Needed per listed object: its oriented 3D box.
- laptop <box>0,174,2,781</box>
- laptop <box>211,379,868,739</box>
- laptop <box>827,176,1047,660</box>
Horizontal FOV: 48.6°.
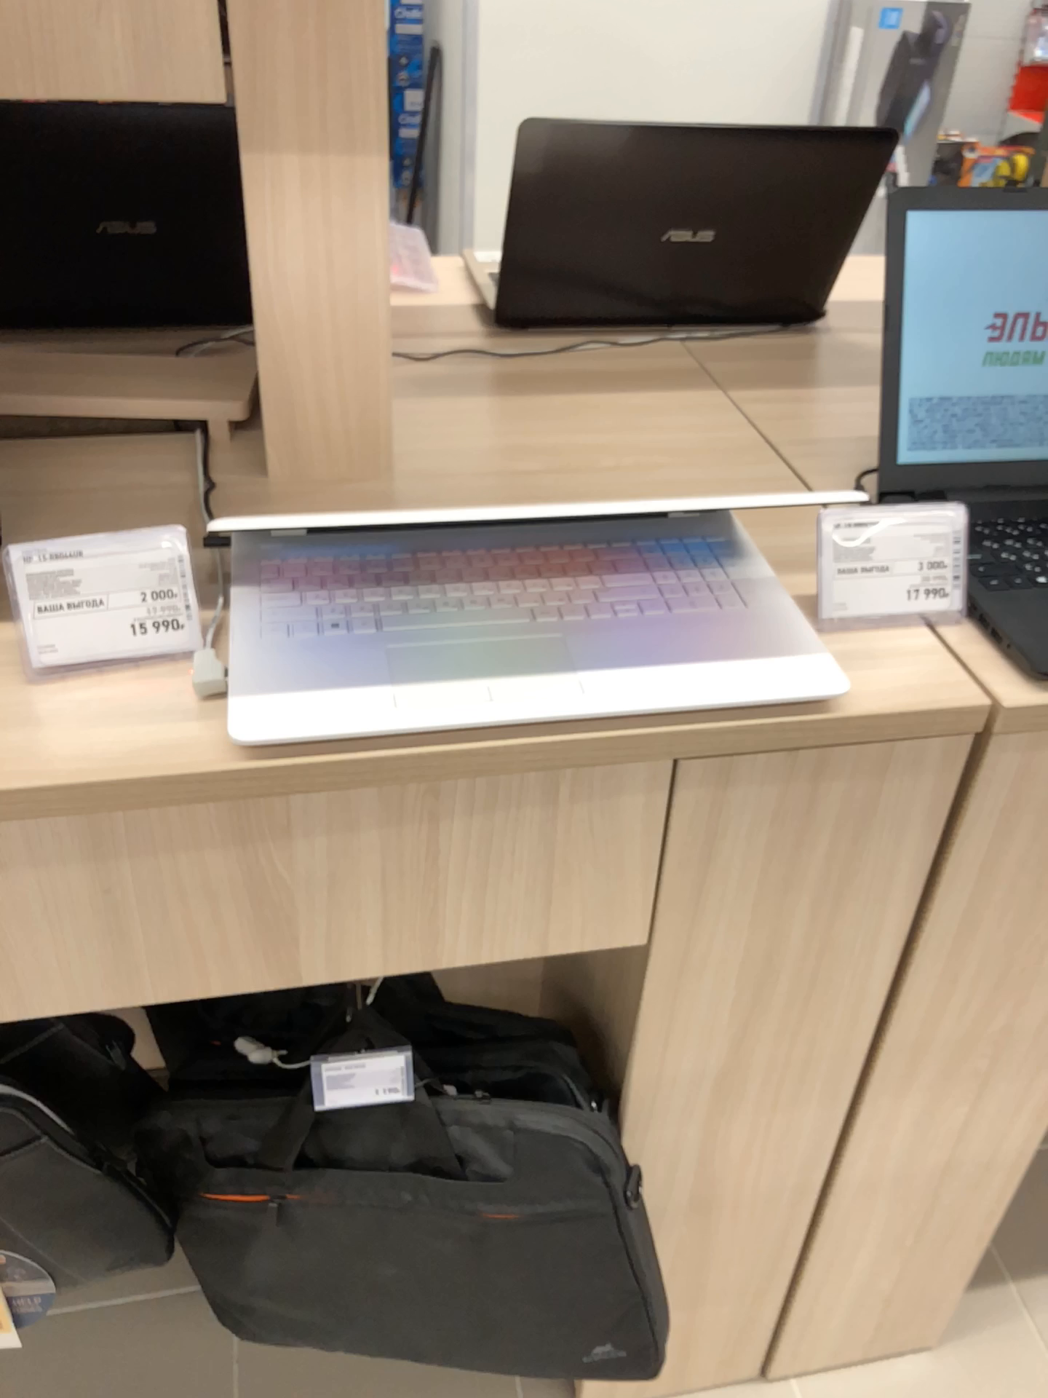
[{"bbox_3d":[-0.563,-0.156,0.689,0.386,0.203,0.369,-3,35,-10],"label":"laptop"},{"bbox_3d":[-0.004,-0.106,0.755,0.368,0.103,0.233,-4,38,-10],"label":"laptop"},{"bbox_3d":[0.495,-0.225,0.864,0.391,0.219,0.351,-3,35,-12],"label":"laptop"}]
